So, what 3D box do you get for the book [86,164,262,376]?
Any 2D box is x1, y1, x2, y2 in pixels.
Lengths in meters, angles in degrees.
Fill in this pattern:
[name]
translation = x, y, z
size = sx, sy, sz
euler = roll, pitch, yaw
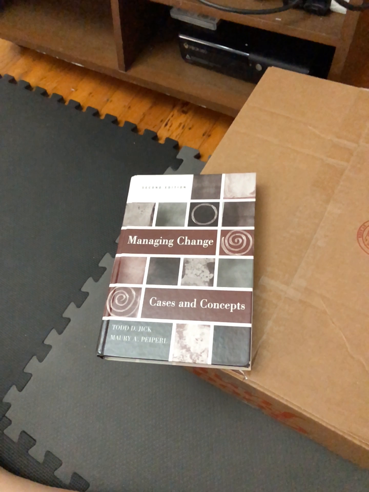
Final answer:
[book]
translation = -0.002, 0.015, 0.483
size = 0.180, 0.030, 0.251
euler = 1, 64, 10
